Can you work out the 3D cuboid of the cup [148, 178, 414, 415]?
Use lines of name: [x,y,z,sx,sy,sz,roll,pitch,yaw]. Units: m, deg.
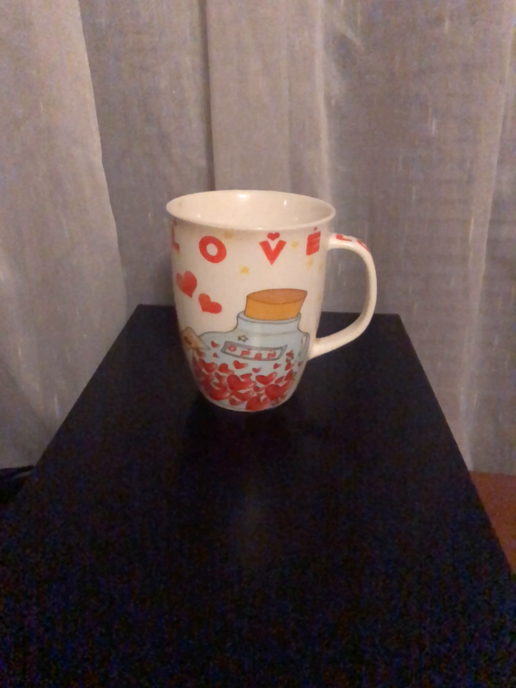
cup: [0.011,-0.028,0.295,0.111,0.098,0.079,1,25,3]
